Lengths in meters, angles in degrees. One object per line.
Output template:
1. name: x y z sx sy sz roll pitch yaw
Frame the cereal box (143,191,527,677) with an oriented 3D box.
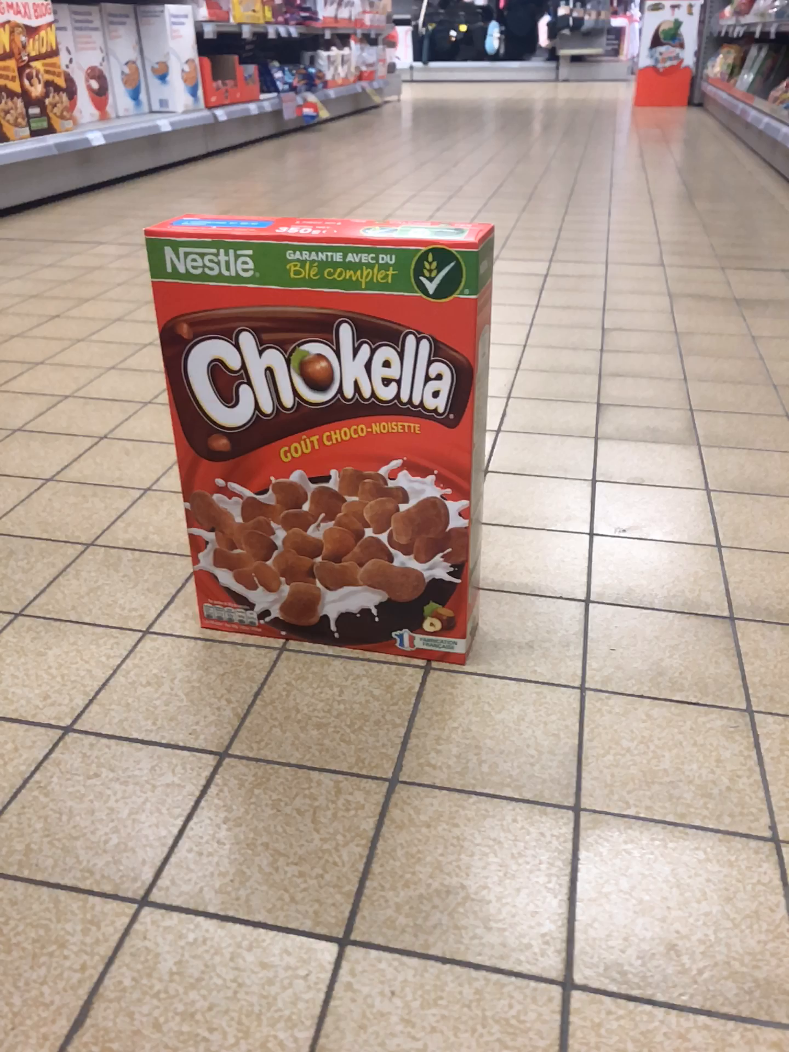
1. cereal box: -0.031 -0.052 0.537 0.200 0.278 0.060 7 29 14
